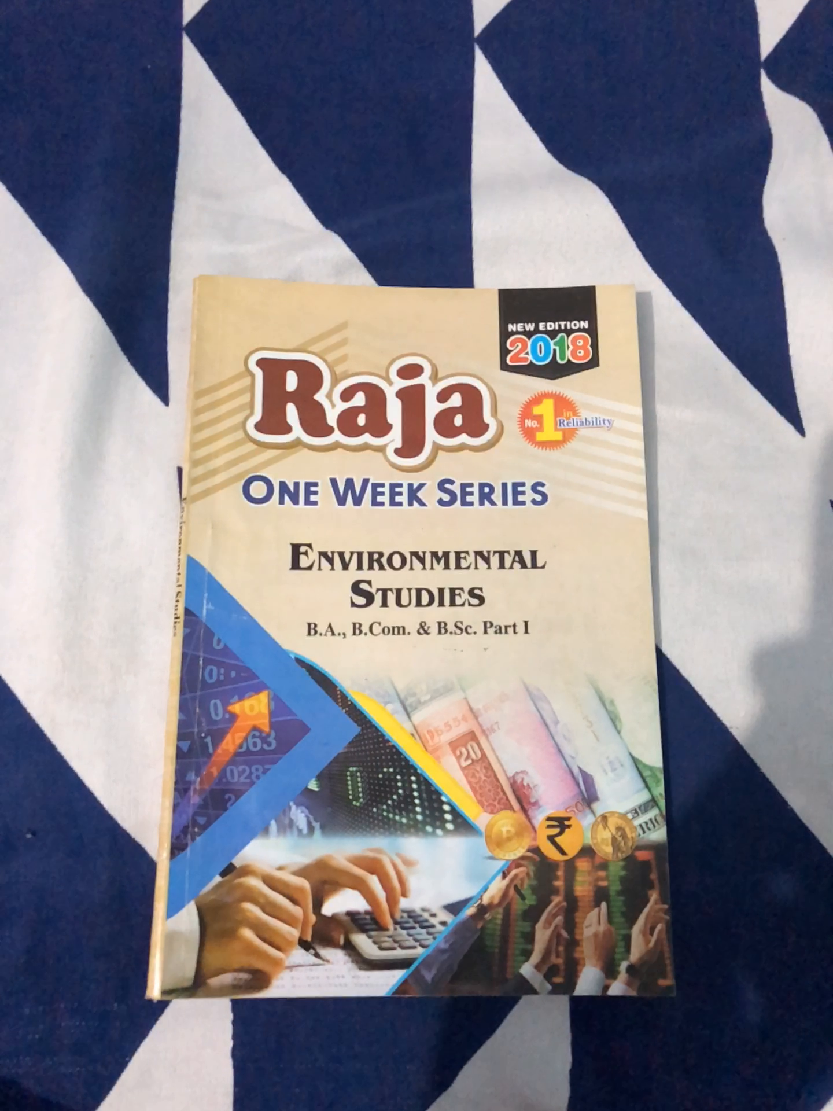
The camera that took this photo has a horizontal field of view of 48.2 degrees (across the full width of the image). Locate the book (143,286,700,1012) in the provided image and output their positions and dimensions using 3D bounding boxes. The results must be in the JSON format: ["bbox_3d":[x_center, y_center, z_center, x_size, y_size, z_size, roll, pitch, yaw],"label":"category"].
[{"bbox_3d":[0.002,0.018,0.262,0.140,0.010,0.200,0,77,1],"label":"book"}]
